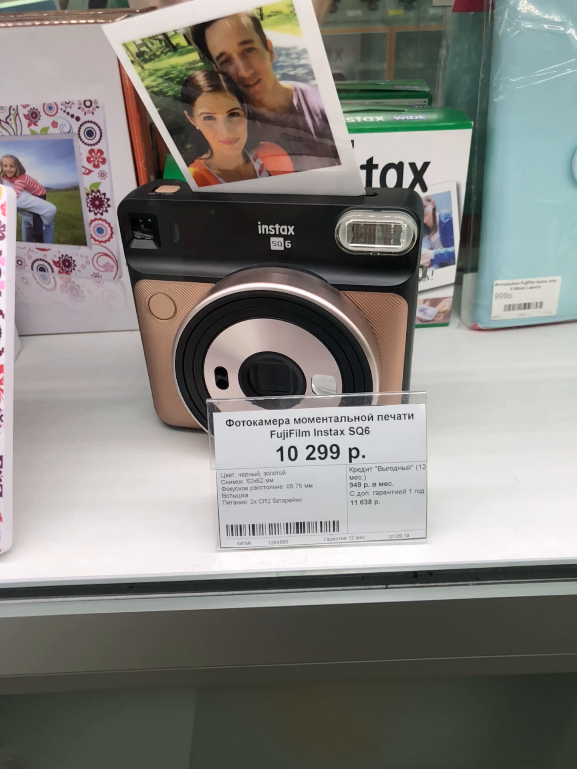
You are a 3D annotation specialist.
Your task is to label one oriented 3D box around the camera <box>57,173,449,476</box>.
[{"bbox_3d":[-0.009,-0.028,0.274,0.140,0.104,0.060,5,34,11],"label":"camera"}]
